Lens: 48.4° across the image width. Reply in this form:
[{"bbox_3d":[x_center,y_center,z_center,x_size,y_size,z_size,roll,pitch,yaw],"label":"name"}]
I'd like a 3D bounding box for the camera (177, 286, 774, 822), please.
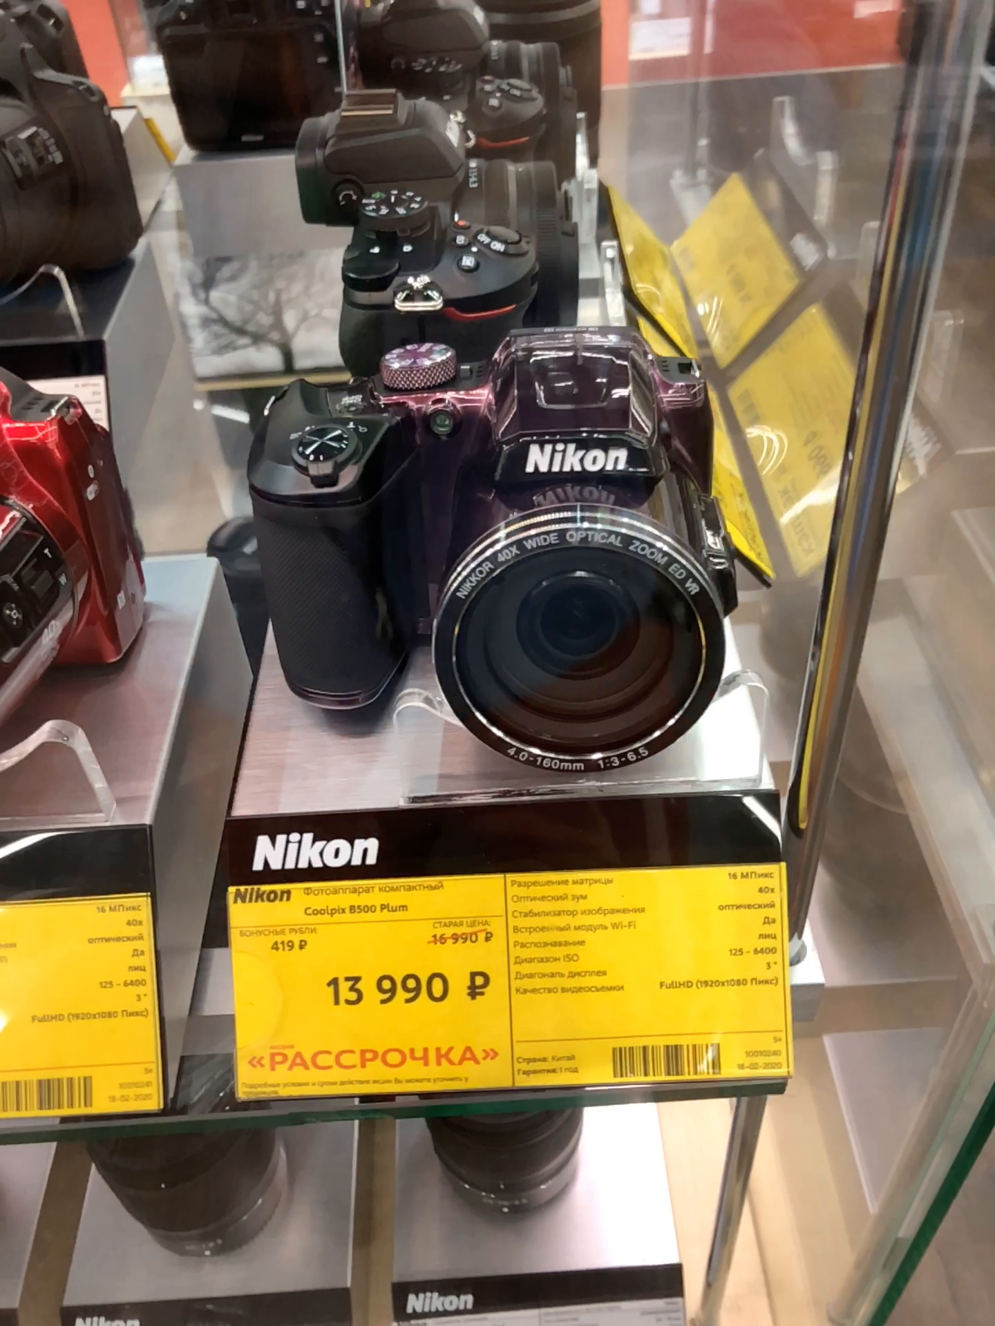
[{"bbox_3d":[-0.002,-0.028,0.266,0.109,0.080,0.101,-2,43,2],"label":"camera"}]

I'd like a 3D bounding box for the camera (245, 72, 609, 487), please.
[{"bbox_3d":[-0.017,-0.135,0.380,0.100,0.084,0.134,-2,43,3],"label":"camera"}]
